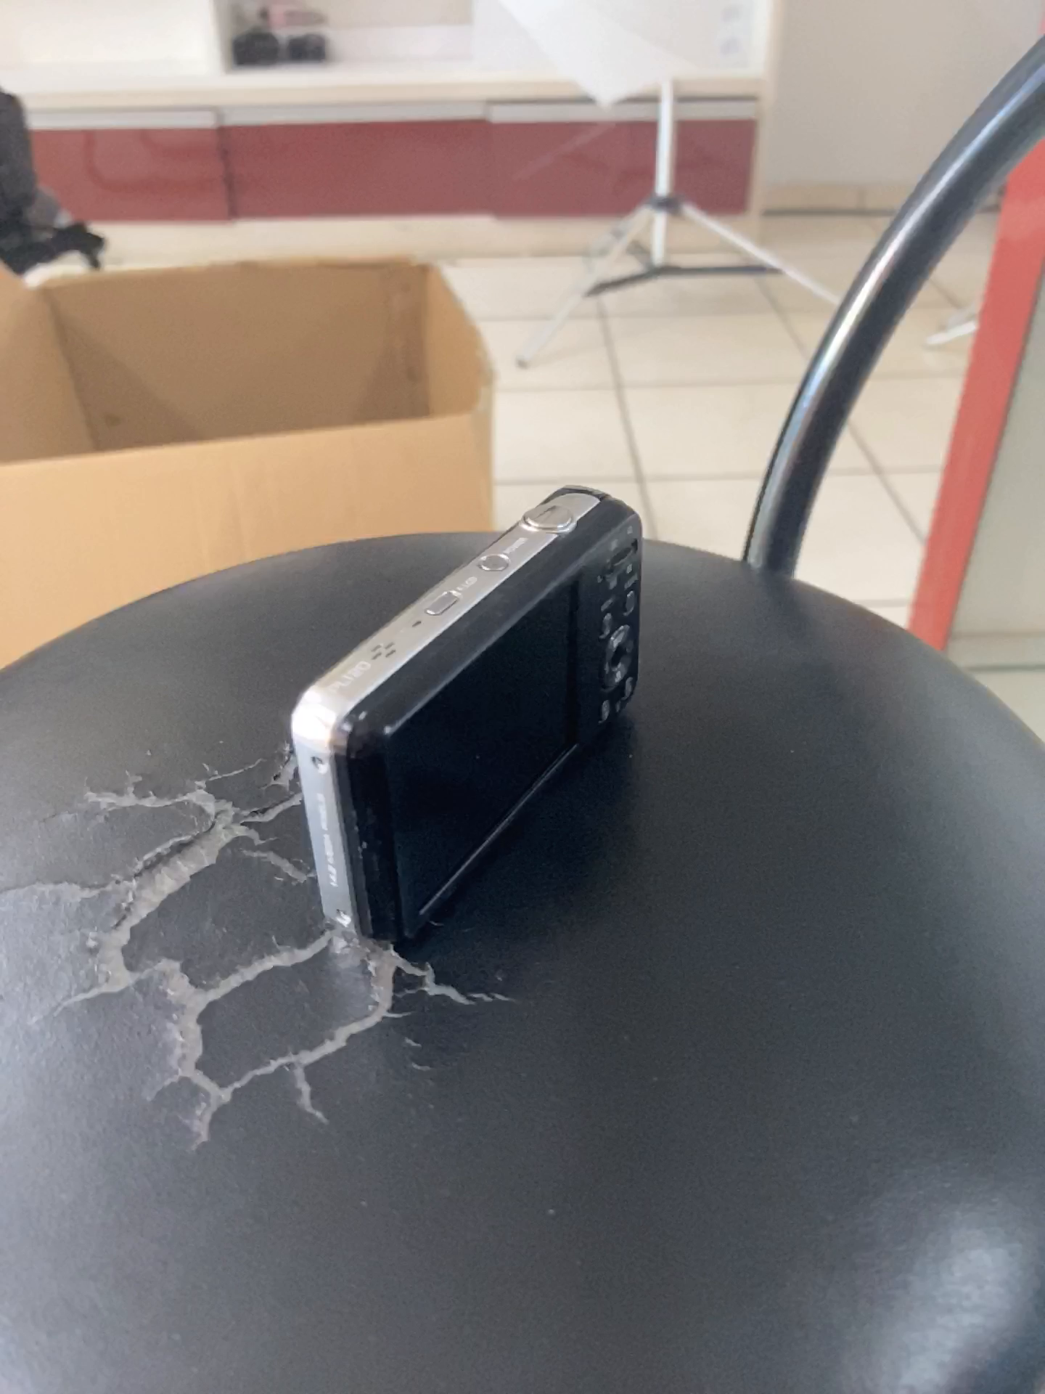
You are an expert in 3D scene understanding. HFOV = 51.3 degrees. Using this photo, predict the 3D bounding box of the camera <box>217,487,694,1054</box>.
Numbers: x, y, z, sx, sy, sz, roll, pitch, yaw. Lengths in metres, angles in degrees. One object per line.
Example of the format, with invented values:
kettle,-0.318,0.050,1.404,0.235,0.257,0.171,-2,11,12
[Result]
camera,-0.005,0.007,0.201,0.030,0.050,0.101,19,42,26
